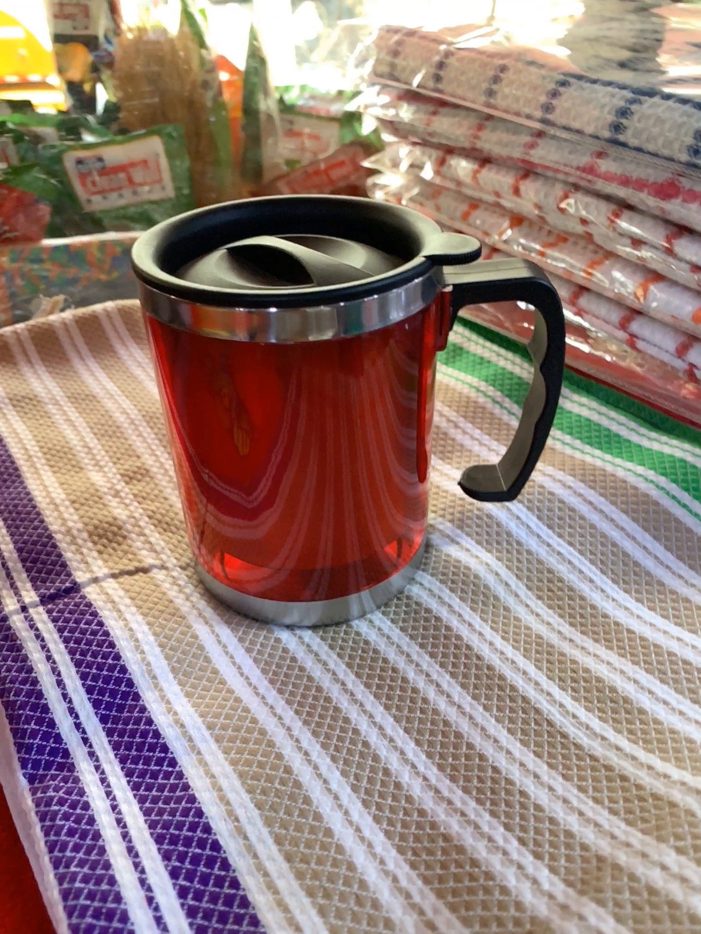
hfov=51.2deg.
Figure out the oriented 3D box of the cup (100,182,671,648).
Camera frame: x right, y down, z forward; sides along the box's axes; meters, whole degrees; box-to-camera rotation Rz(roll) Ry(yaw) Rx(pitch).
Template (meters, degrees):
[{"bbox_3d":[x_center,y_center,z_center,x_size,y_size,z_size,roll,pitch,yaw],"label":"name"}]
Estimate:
[{"bbox_3d":[0.006,-0.023,0.234,0.129,0.102,0.100,-5,33,-4],"label":"cup"}]
